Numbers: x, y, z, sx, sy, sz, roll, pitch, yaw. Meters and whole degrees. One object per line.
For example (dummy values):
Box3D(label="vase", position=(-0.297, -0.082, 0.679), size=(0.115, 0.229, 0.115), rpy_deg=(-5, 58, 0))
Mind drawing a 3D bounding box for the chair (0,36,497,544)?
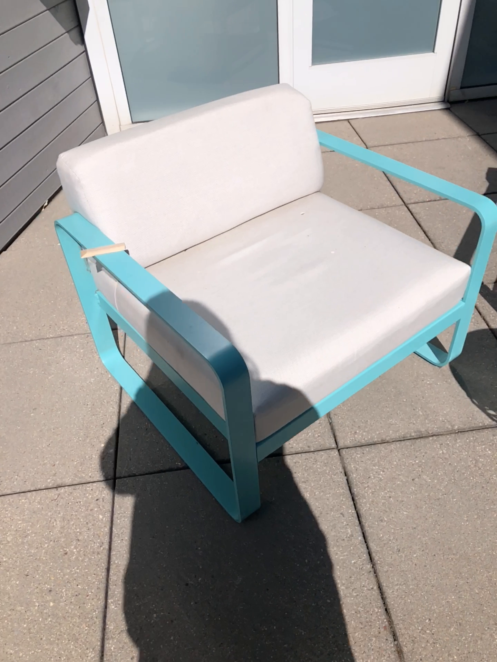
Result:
Box3D(label="chair", position=(0.012, -0.211, 1.481), size=(0.901, 0.766, 0.874), rpy_deg=(-31, 48, -27))
